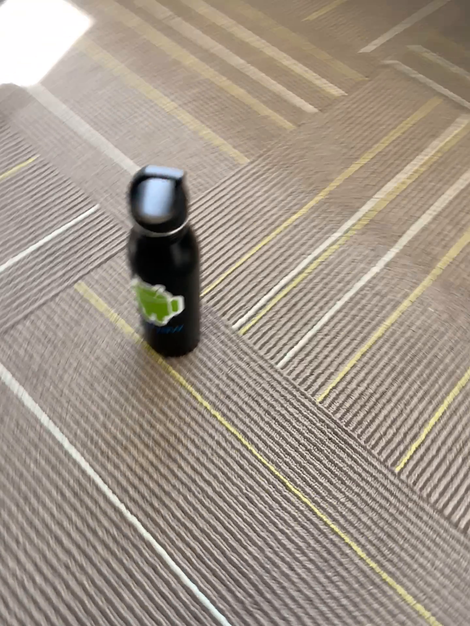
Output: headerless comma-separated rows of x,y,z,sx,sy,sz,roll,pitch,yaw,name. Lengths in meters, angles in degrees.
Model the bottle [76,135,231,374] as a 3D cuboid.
-0.068,-0.037,0.467,0.090,0.239,0.080,21,61,7,bottle
